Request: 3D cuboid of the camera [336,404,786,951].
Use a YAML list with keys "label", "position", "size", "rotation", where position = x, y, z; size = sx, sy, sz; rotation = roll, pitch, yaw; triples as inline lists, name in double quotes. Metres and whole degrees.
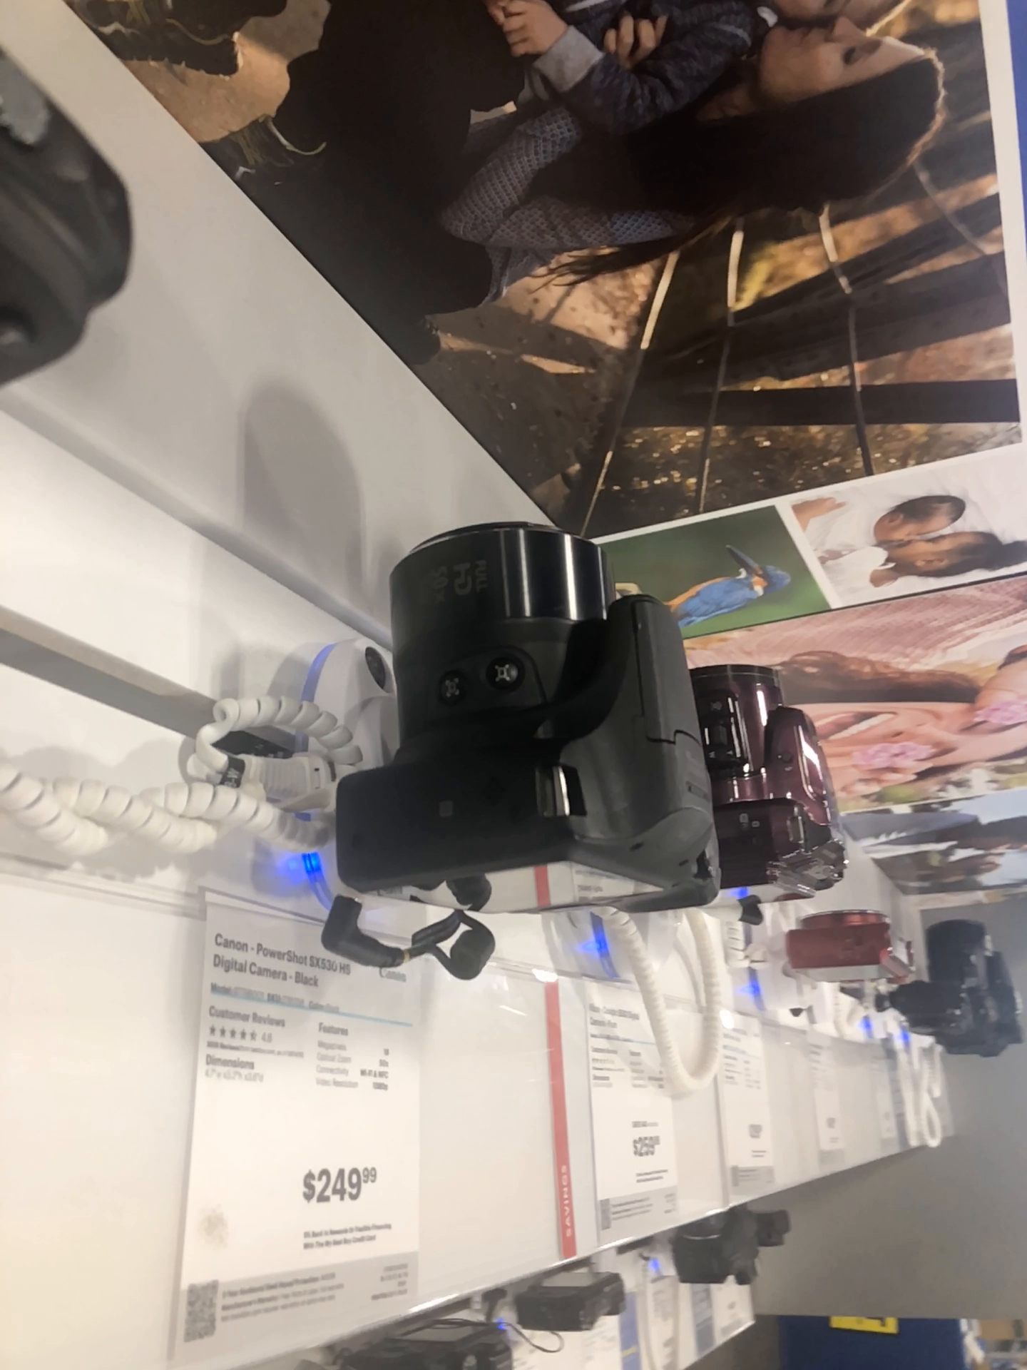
- label: "camera"
  position: [0.017, 0.010, 0.305]
  size: [0.121, 0.070, 0.110]
  rotation: [28, 54, -61]
